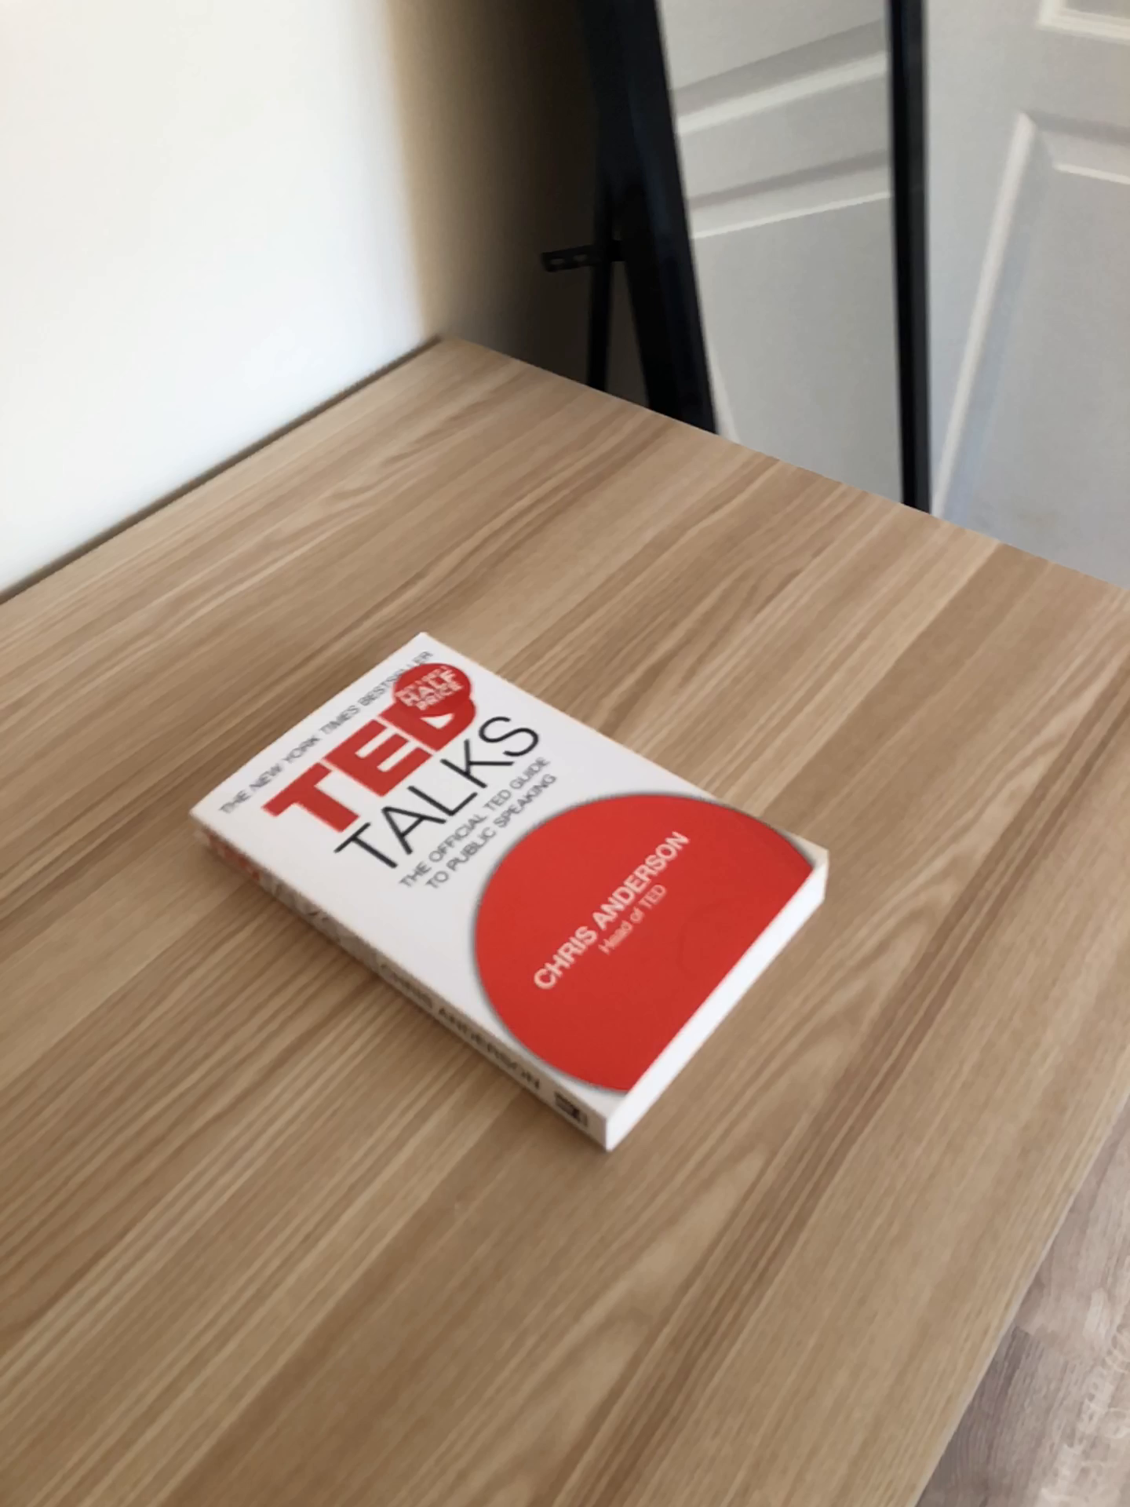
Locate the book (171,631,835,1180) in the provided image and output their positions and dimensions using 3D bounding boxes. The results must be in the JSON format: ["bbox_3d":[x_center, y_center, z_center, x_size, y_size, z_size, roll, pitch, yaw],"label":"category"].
[{"bbox_3d":[-0.027,0.043,0.484,0.220,0.030,0.139,30,54,27],"label":"book"}]
